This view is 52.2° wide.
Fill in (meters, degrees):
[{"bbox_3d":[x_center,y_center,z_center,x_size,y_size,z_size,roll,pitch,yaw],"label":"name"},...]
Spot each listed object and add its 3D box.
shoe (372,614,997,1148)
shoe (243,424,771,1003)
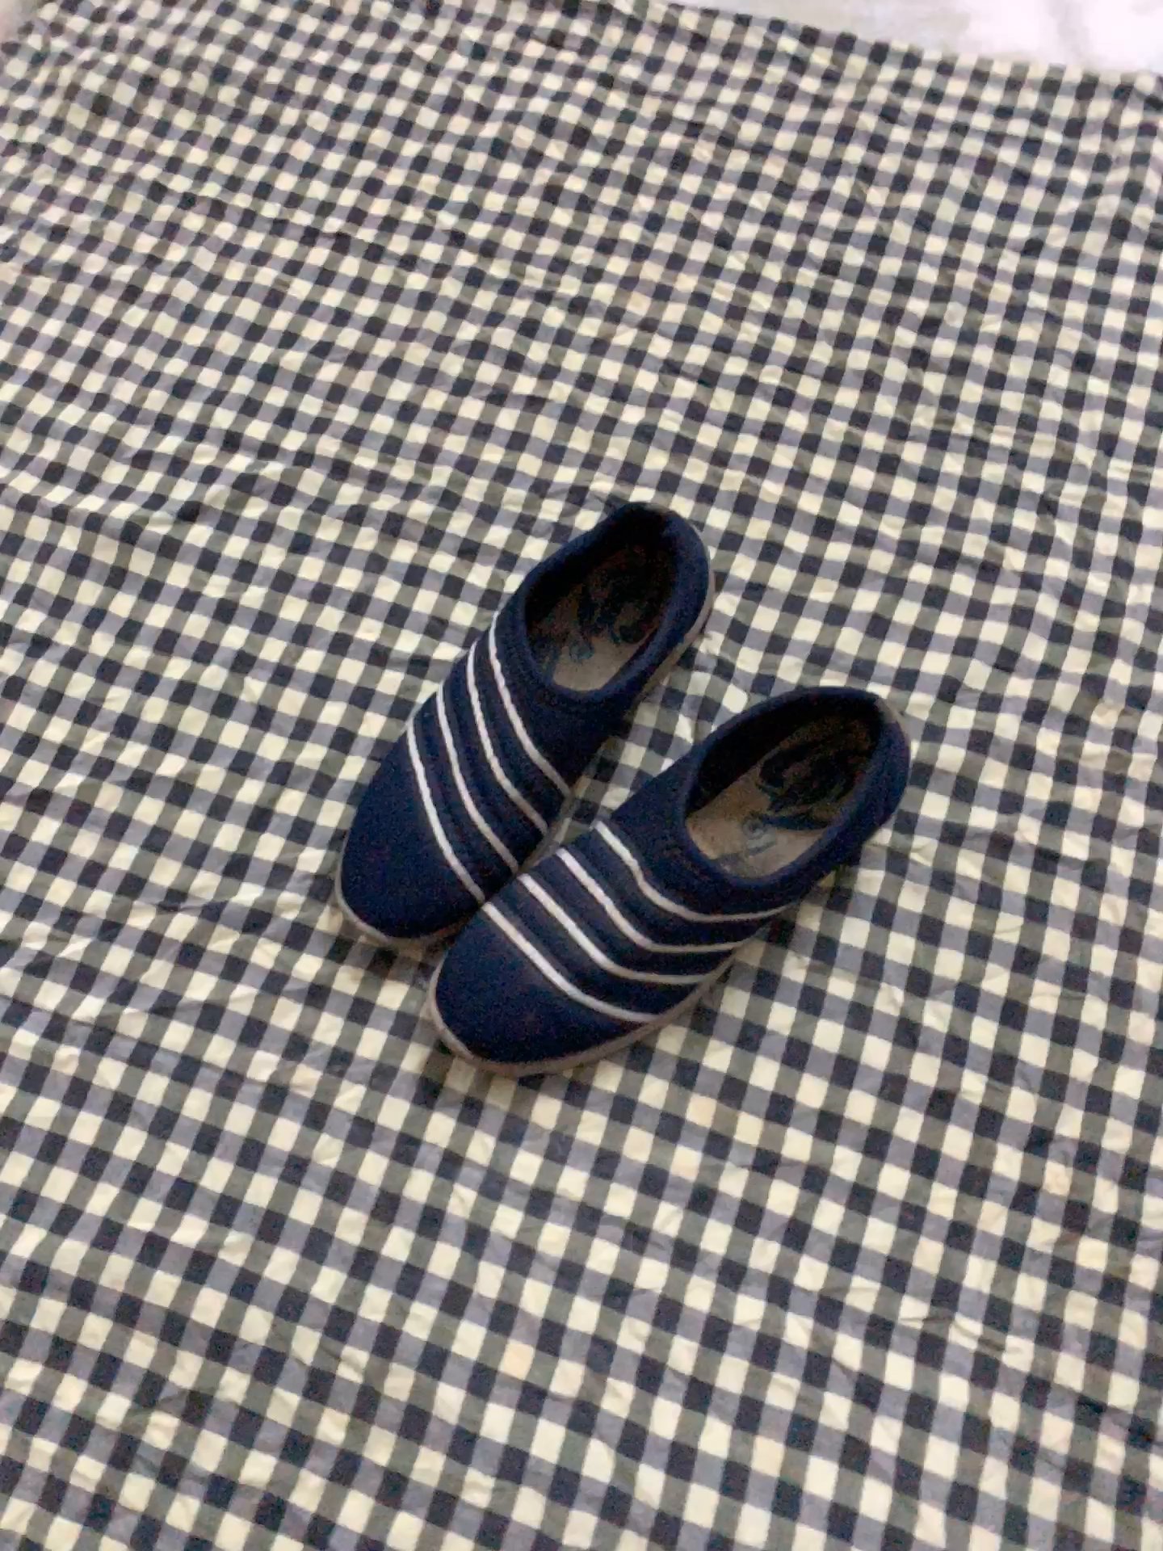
[{"bbox_3d":[0.046,0.050,0.530,0.250,0.100,0.090,-34,72,-10],"label":"shoe"},{"bbox_3d":[-0.026,-0.029,0.552,0.090,0.090,0.250,35,74,14],"label":"shoe"}]
